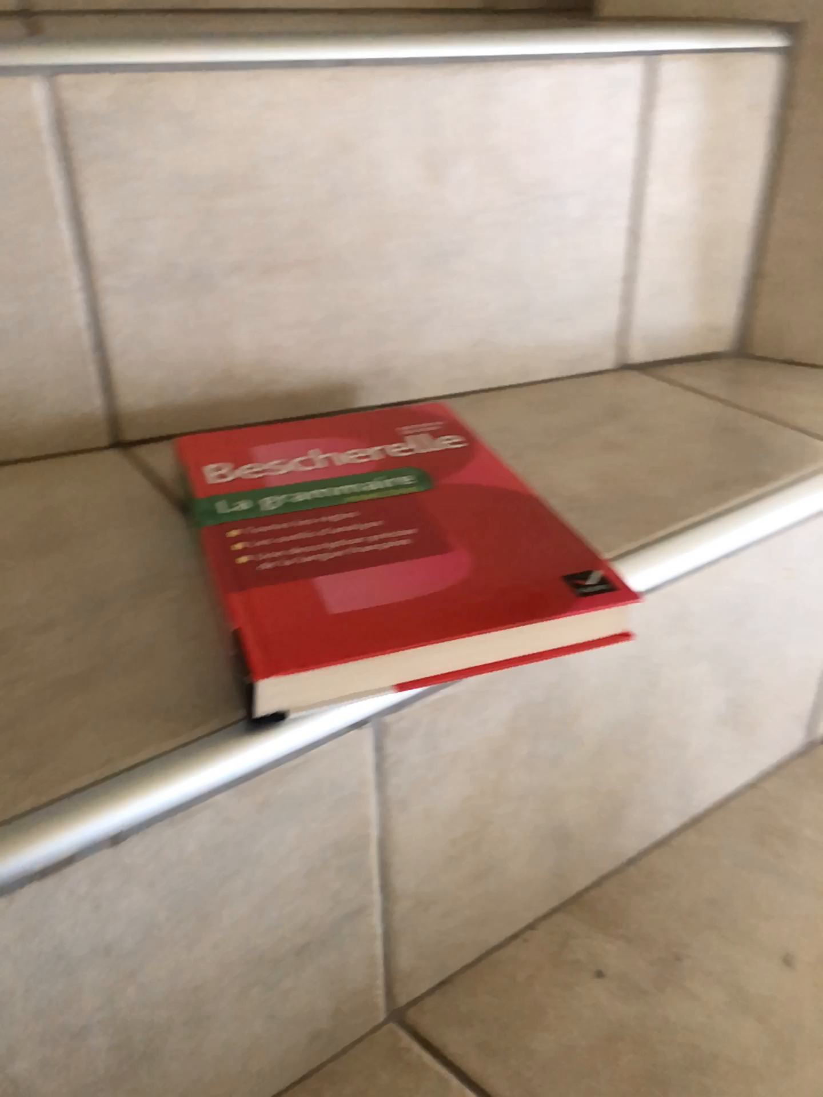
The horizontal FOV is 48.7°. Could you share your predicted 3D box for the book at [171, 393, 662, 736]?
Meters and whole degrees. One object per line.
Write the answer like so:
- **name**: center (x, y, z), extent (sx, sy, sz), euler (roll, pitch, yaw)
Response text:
- **book**: center (-0.014, -0.012, 0.378), extent (0.143, 0.020, 0.202), euler (-11, 32, -16)
